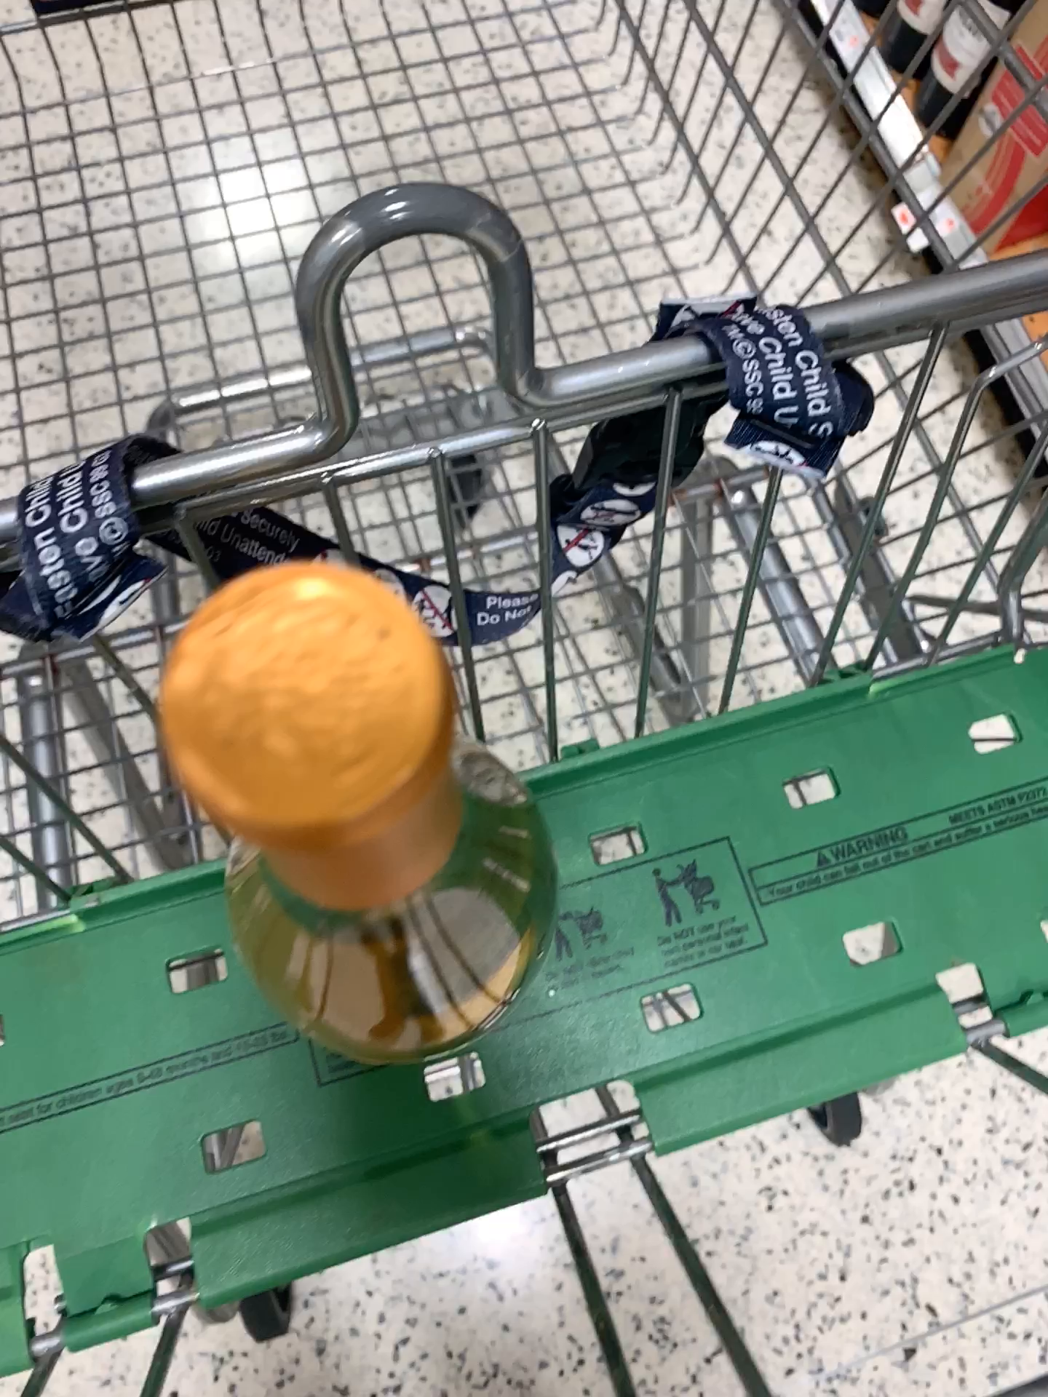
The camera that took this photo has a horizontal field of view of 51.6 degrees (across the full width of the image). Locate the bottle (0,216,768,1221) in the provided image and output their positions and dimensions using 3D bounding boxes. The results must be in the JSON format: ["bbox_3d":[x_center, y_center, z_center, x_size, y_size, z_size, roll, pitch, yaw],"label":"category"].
[{"bbox_3d":[-0.037,0.040,0.258,0.086,0.299,0.084,1,72,-3],"label":"bottle"}]
